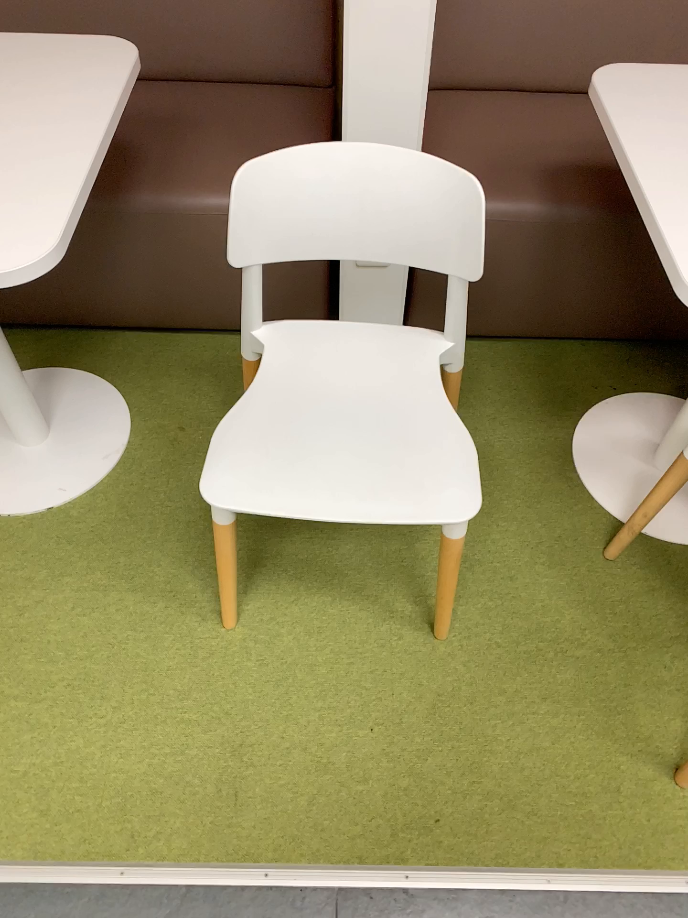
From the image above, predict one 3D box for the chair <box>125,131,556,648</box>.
[{"bbox_3d":[-0.001,-0.071,1.279,0.500,0.787,0.502,4,52,1],"label":"chair"}]
